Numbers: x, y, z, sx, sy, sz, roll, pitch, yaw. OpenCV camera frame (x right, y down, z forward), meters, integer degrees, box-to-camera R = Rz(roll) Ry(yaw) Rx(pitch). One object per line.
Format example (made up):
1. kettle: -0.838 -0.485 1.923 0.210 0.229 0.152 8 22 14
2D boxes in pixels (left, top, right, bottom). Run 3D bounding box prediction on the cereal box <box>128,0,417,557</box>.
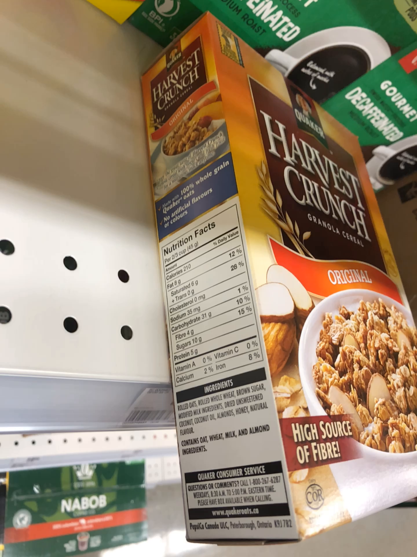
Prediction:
1. cereal box: 0.051 -0.023 0.257 0.171 0.050 0.280 14 59 -45
